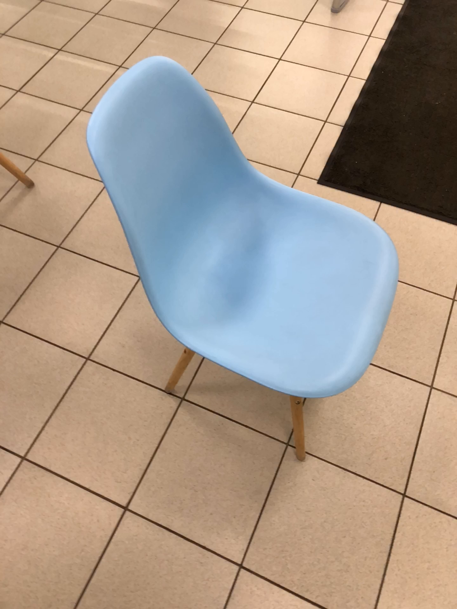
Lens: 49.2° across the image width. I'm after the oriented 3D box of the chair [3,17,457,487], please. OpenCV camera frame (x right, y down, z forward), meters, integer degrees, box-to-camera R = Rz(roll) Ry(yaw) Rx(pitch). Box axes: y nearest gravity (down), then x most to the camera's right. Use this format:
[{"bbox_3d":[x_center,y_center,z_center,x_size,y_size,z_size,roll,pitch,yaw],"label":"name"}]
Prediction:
[{"bbox_3d":[0.052,-0.039,1.065,0.570,0.777,0.471,21,61,13],"label":"chair"}]
